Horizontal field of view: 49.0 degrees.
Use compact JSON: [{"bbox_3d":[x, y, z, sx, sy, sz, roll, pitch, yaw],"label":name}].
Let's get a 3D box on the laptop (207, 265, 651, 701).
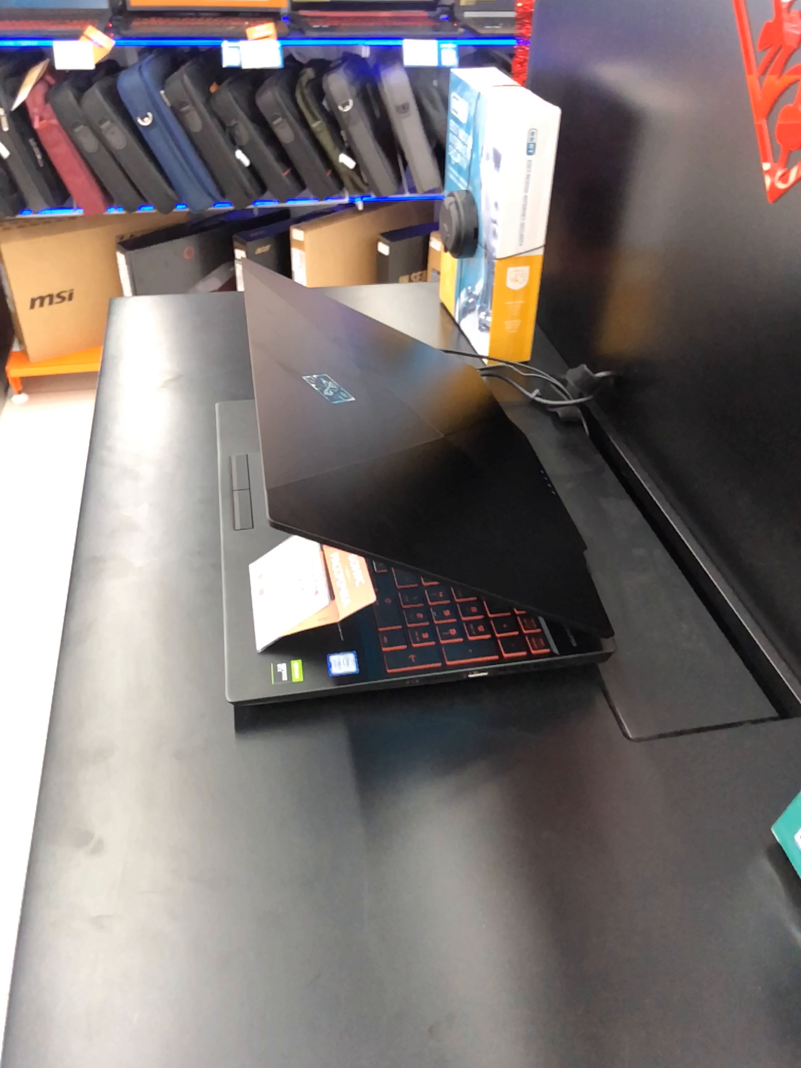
[{"bbox_3d":[-0.005,-0.066,0.627,0.230,0.121,0.352,-5,36,-6],"label":"laptop"}]
